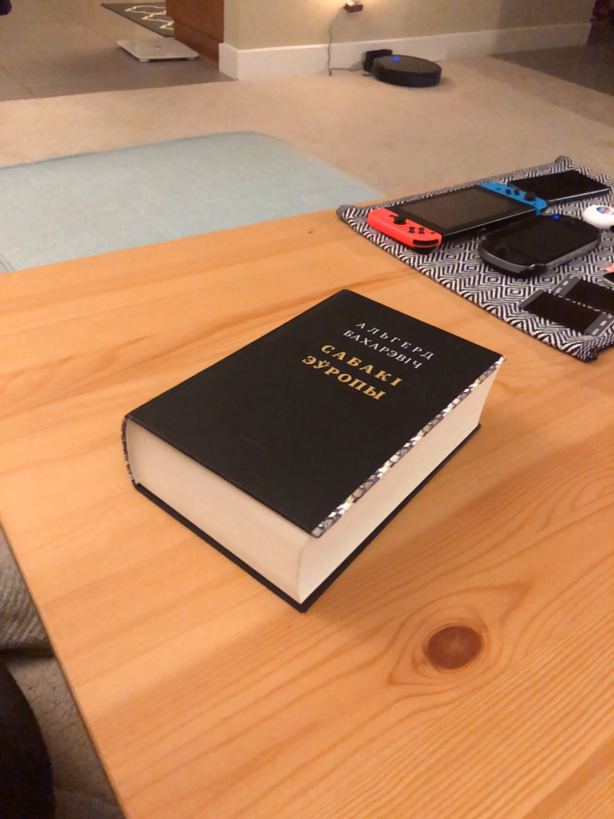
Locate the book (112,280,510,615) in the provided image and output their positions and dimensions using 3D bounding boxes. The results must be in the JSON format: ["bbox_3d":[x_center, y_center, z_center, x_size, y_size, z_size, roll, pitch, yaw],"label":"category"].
[{"bbox_3d":[0.012,0.004,0.469,0.157,0.061,0.230,28,45,28],"label":"book"}]
